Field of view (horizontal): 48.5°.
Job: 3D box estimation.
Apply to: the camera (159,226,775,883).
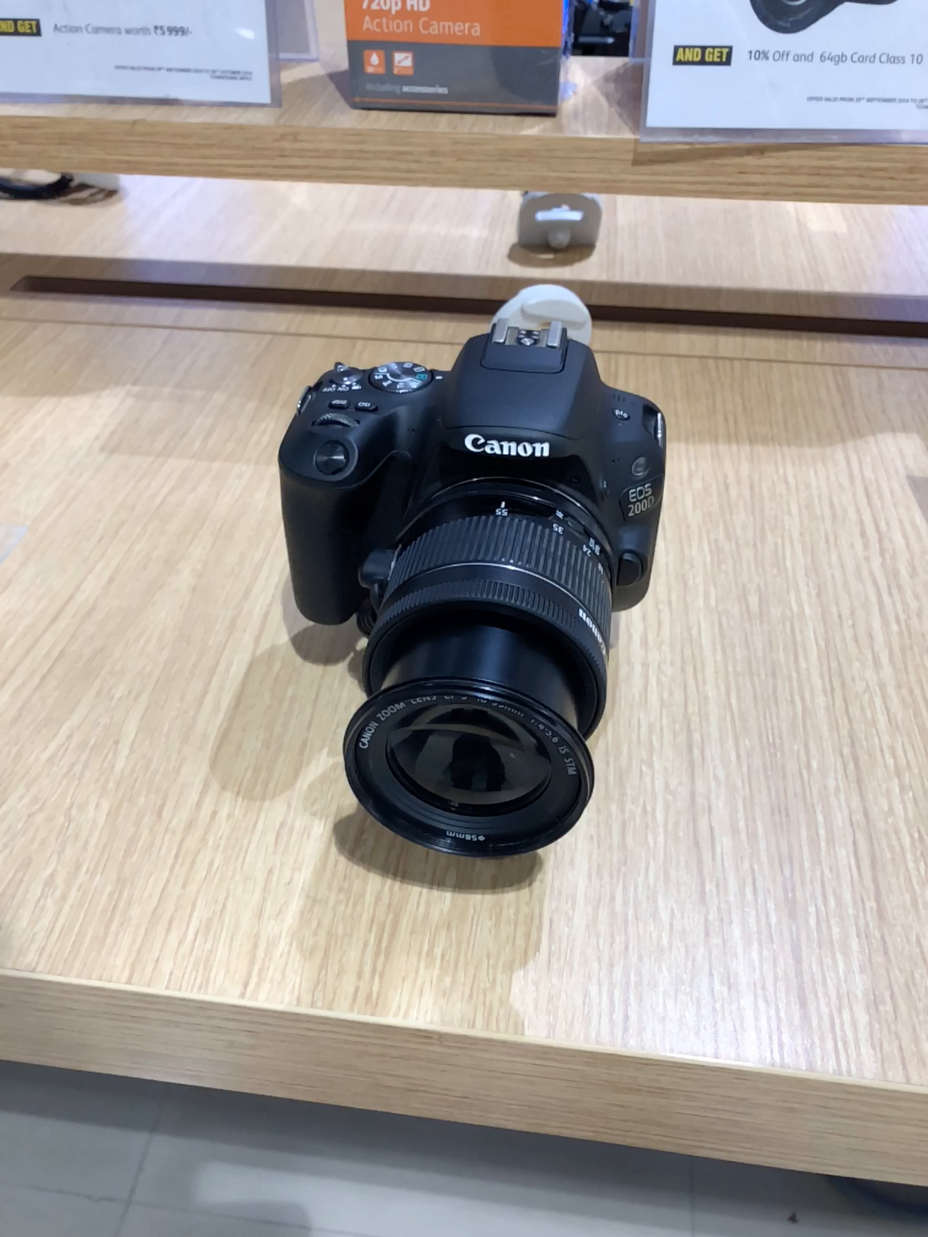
[{"bbox_3d":[0.010,-0.029,0.292,0.120,0.099,0.161,5,41,6],"label":"camera"}]
